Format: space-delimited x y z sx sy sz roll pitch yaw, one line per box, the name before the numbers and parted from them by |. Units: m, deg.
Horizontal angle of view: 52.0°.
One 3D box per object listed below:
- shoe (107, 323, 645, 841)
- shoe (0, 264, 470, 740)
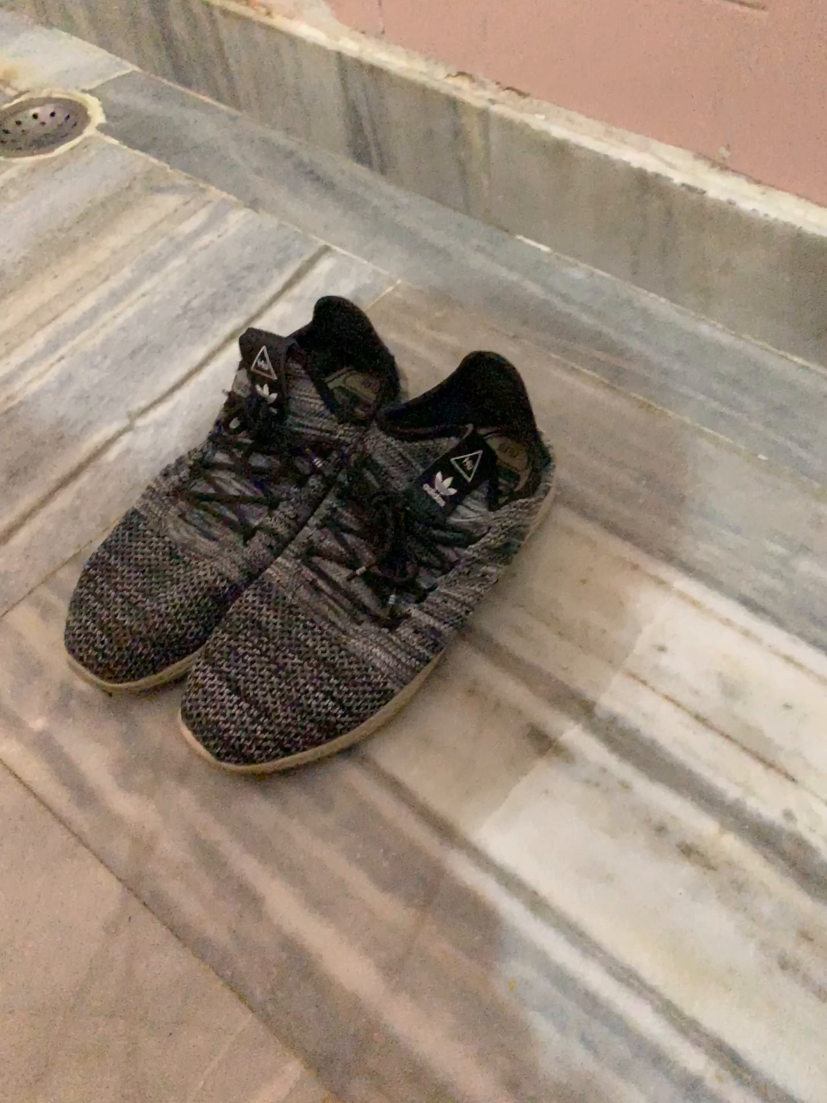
shoe | -0.008 0.003 0.495 0.120 0.080 0.299 36 65 23
shoe | -0.103 -0.045 0.532 0.120 0.080 0.299 33 64 22
